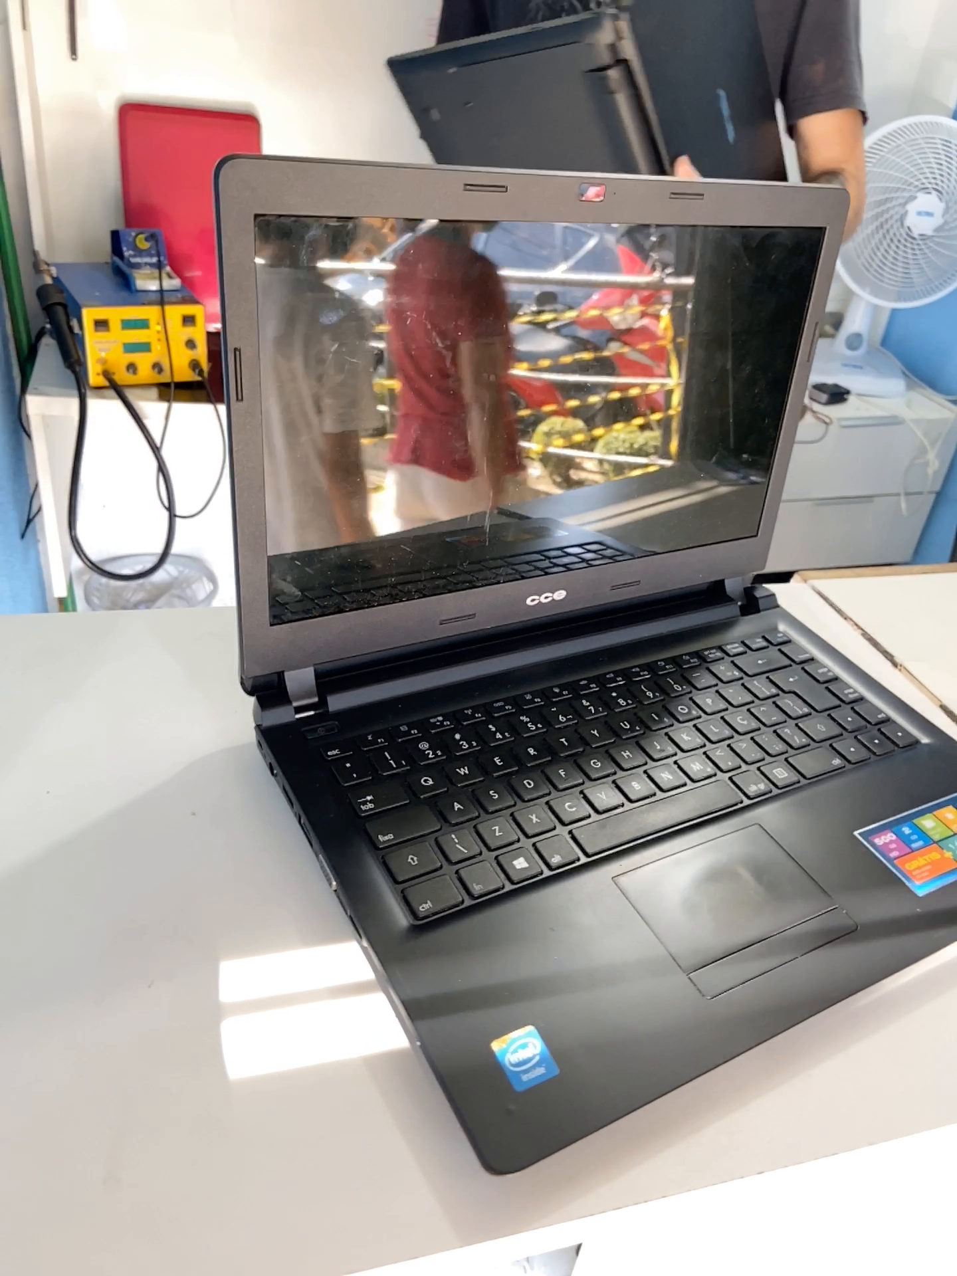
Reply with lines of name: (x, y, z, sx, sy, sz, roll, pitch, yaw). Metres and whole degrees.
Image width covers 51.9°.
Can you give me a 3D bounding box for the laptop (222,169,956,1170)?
laptop: (0.095, -0.038, 0.406, 0.324, 0.216, 0.267, -12, 39, -27)
